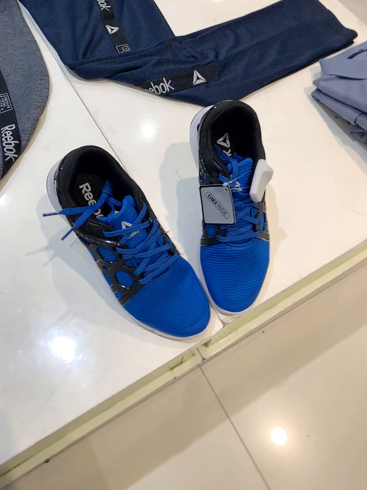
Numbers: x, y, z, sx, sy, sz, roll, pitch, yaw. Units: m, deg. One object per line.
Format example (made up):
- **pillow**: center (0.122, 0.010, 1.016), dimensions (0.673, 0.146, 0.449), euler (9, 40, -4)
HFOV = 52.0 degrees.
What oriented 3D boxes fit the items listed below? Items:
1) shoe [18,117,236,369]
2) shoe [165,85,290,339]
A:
- **shoe**: center (-0.065, 0.005, 0.468), dimensions (0.100, 0.100, 0.279), euler (-41, 108, -25)
- **shoe**: center (0.059, -0.037, 0.482), dimensions (0.100, 0.080, 0.289), euler (-13, 109, -6)
